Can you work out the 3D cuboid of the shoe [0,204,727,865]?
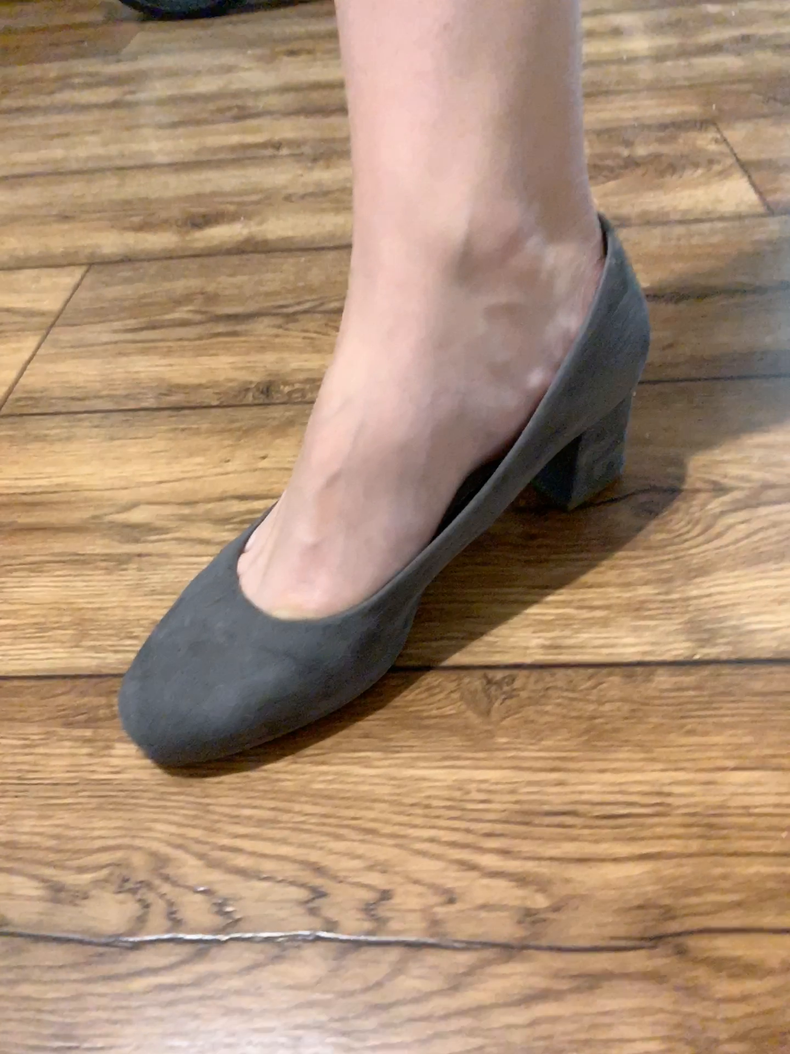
[{"bbox_3d":[0.000,-0.009,0.274,0.210,0.109,0.084,-31,47,-22],"label":"shoe"}]
